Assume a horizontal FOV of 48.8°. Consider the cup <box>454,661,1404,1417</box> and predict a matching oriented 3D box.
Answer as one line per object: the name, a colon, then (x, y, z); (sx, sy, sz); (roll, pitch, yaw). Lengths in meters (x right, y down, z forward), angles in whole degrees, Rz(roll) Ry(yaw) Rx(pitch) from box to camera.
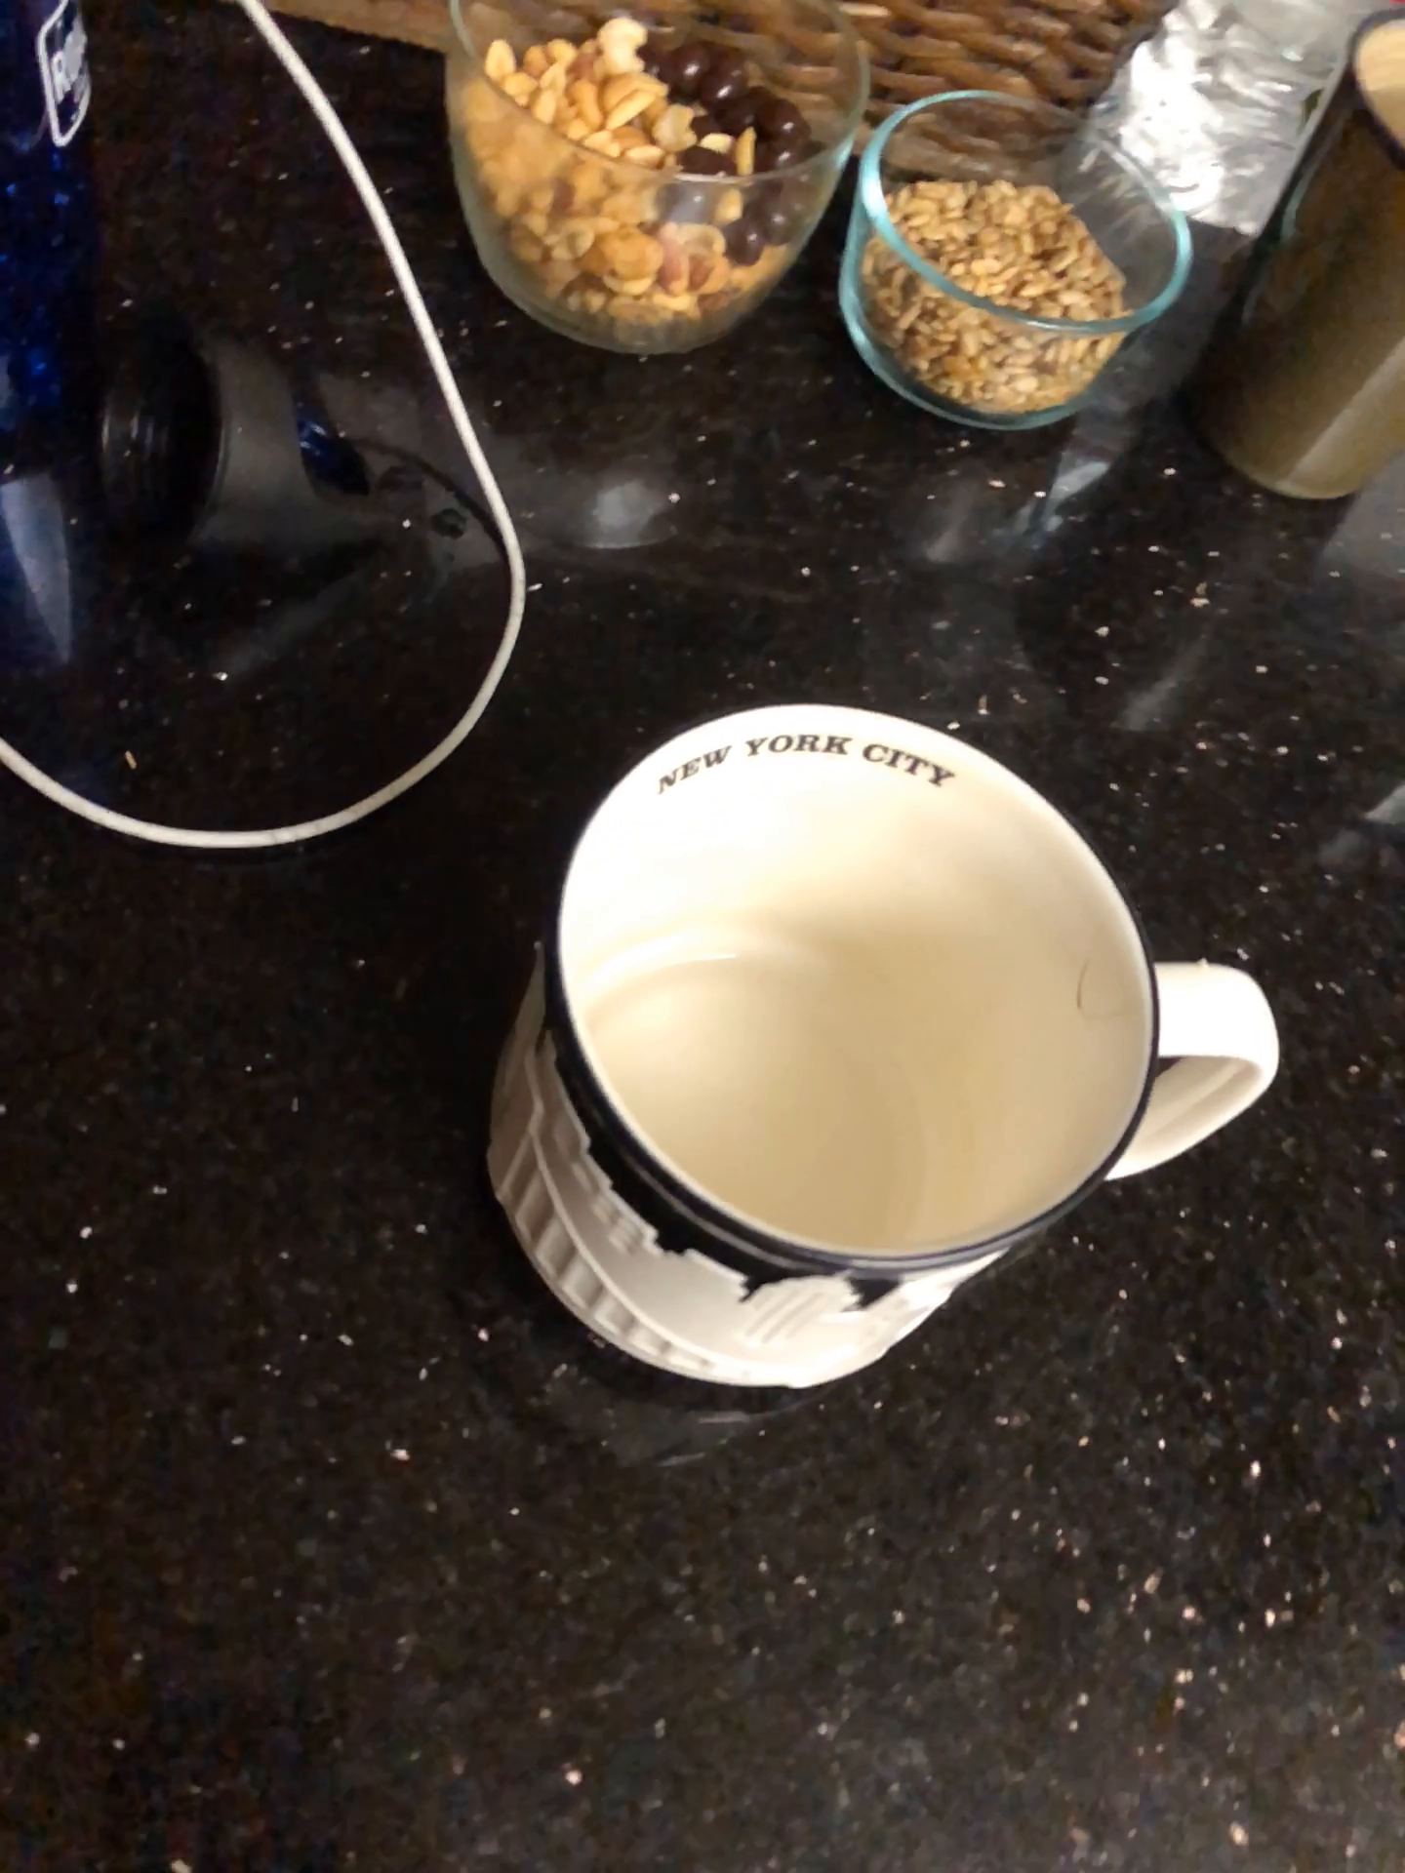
cup: (0.035, 0.020, 0.300); (0.150, 0.090, 0.110); (-2, 63, -15)
